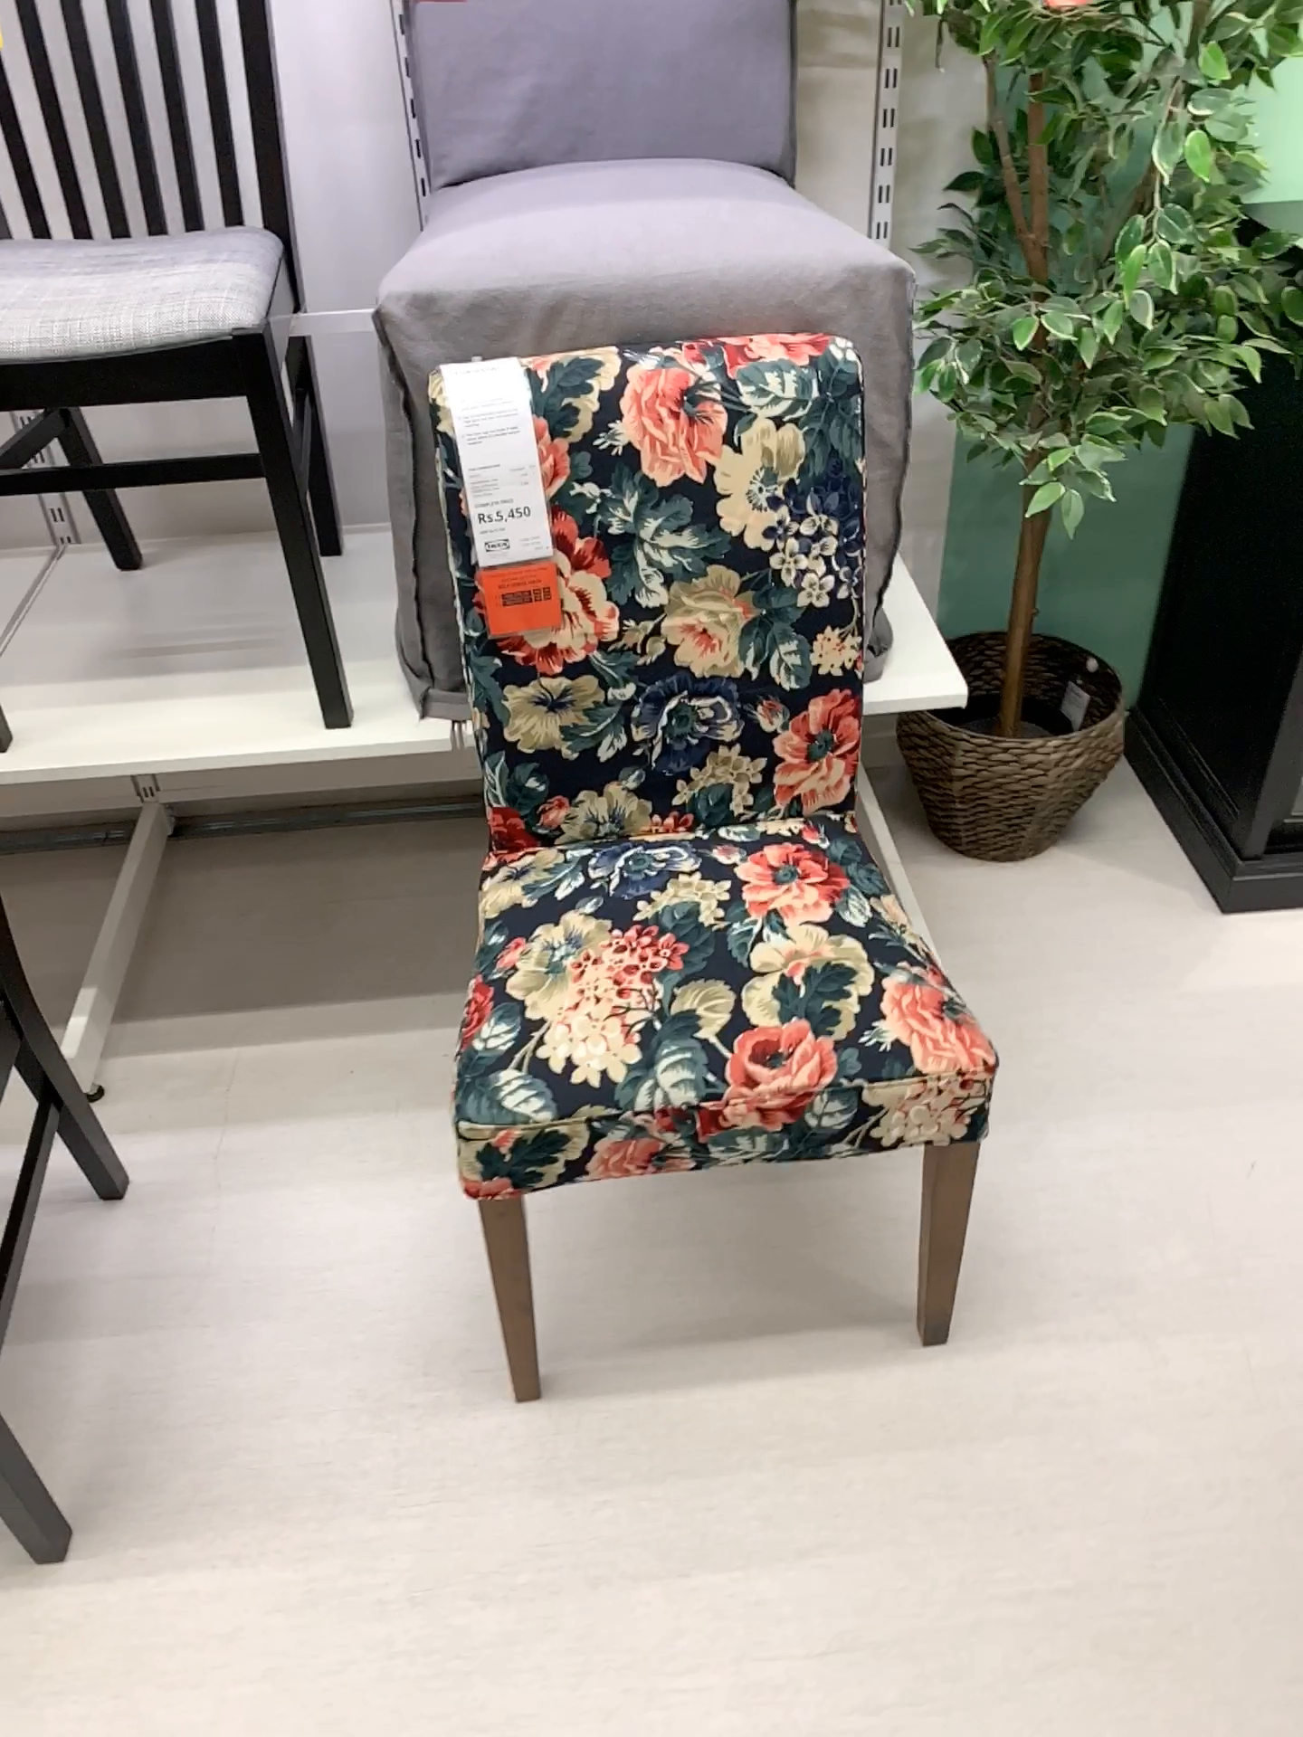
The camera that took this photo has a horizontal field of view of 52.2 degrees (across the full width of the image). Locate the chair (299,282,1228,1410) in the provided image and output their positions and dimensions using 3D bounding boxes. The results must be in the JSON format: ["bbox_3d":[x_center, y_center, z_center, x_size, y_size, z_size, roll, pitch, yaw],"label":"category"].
[{"bbox_3d":[0.066,-0.009,1.308,0.560,0.886,0.603,-4,38,-2],"label":"chair"}]
